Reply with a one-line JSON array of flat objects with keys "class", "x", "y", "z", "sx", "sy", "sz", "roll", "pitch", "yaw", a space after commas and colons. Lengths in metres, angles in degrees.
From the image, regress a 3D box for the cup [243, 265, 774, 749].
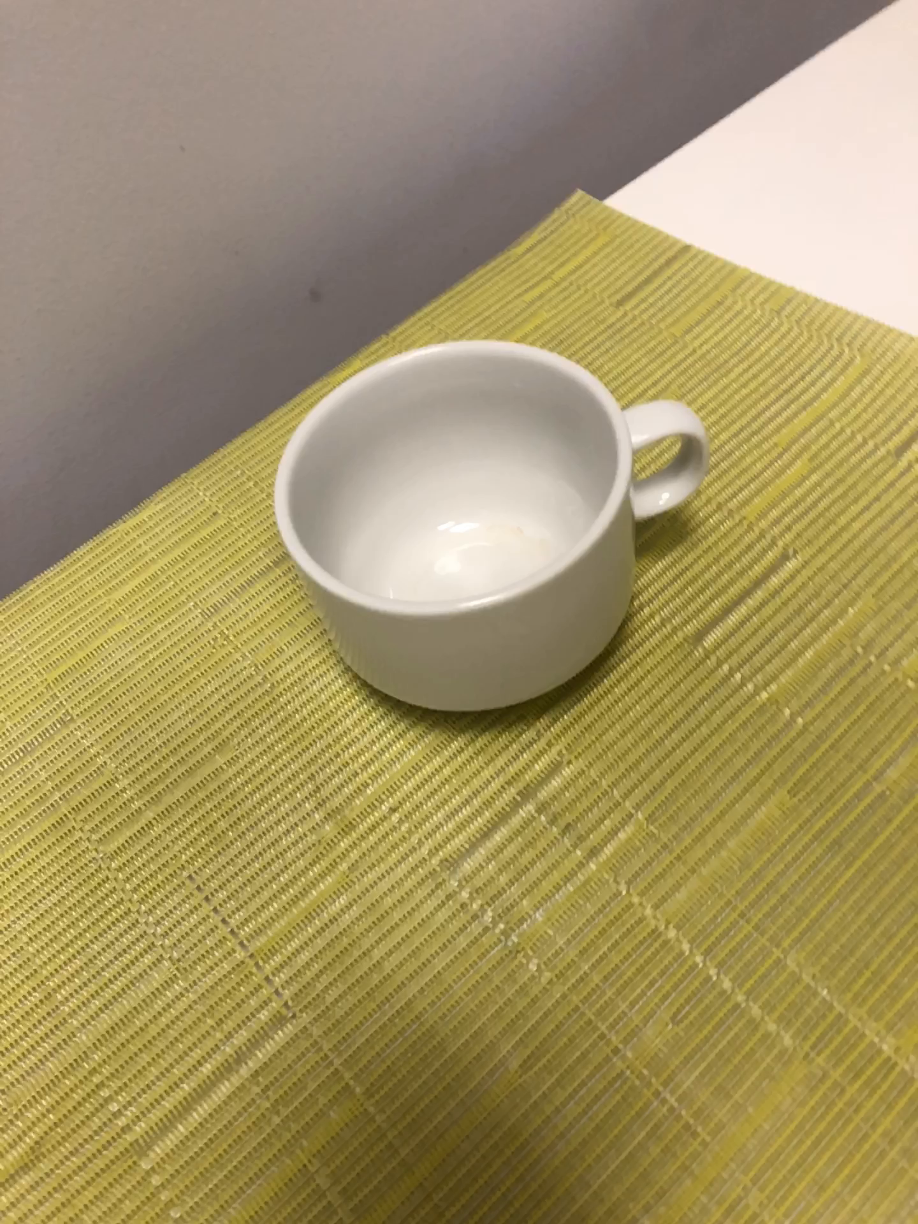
[{"class": "cup", "x": 0.010, "y": -0.026, "z": 0.257, "sx": 0.110, "sy": 0.057, "sz": 0.086, "roll": -11, "pitch": 53, "yaw": 5}]
